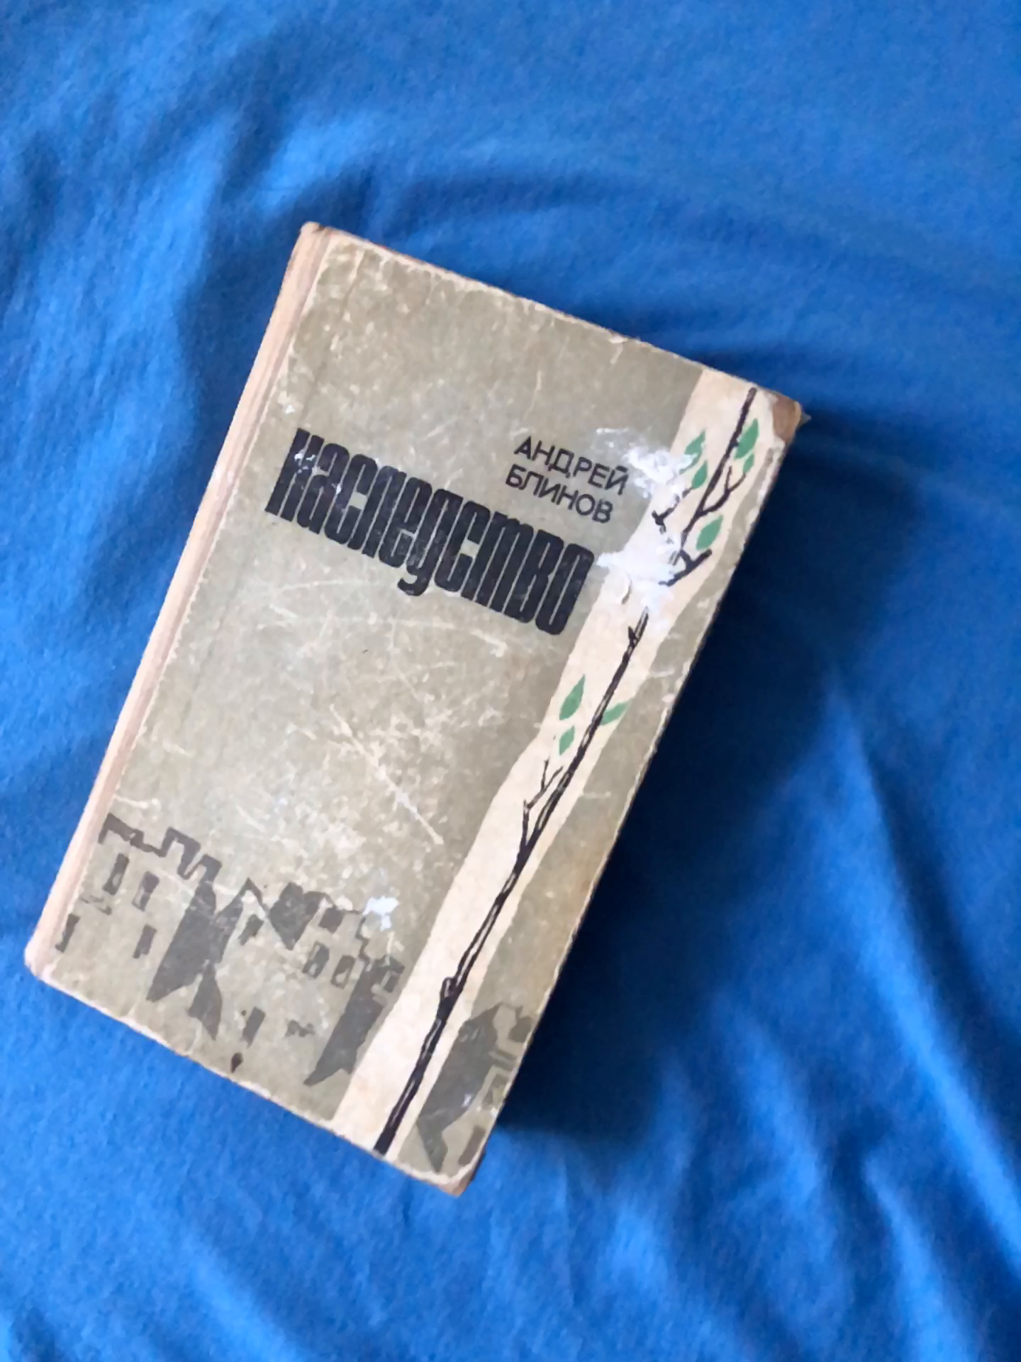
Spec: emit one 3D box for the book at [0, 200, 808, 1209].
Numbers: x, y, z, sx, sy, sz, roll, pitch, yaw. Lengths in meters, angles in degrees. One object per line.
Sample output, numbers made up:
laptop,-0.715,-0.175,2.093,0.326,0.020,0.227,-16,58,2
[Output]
book,-0.030,0.004,0.285,0.130,0.040,0.200,24,93,7
